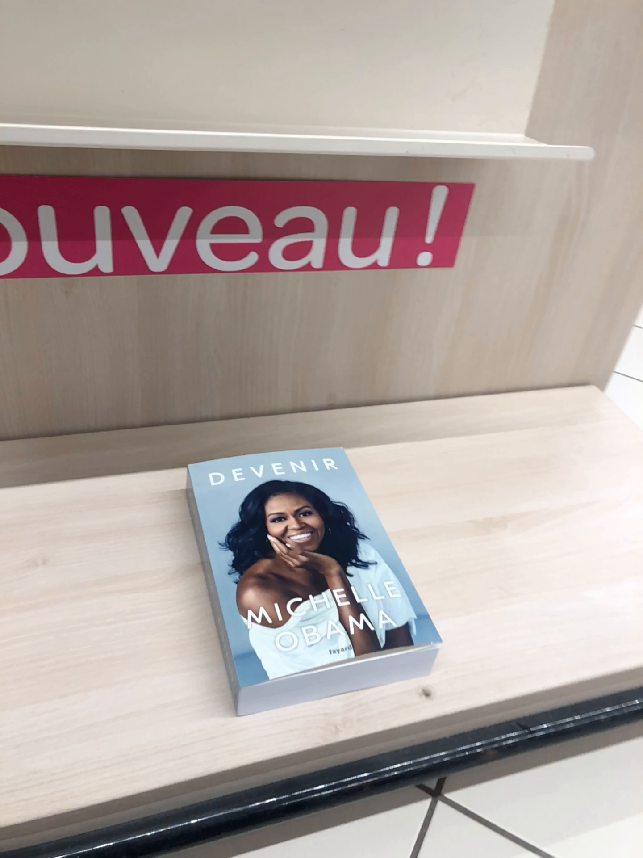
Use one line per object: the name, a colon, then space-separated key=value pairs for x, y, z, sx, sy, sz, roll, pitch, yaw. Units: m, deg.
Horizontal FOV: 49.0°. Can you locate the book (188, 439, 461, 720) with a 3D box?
book: x=-0.012 y=0.107 z=0.598 sx=0.163 sy=0.040 sz=0.241 roll=-5 pitch=40 yaw=-18
